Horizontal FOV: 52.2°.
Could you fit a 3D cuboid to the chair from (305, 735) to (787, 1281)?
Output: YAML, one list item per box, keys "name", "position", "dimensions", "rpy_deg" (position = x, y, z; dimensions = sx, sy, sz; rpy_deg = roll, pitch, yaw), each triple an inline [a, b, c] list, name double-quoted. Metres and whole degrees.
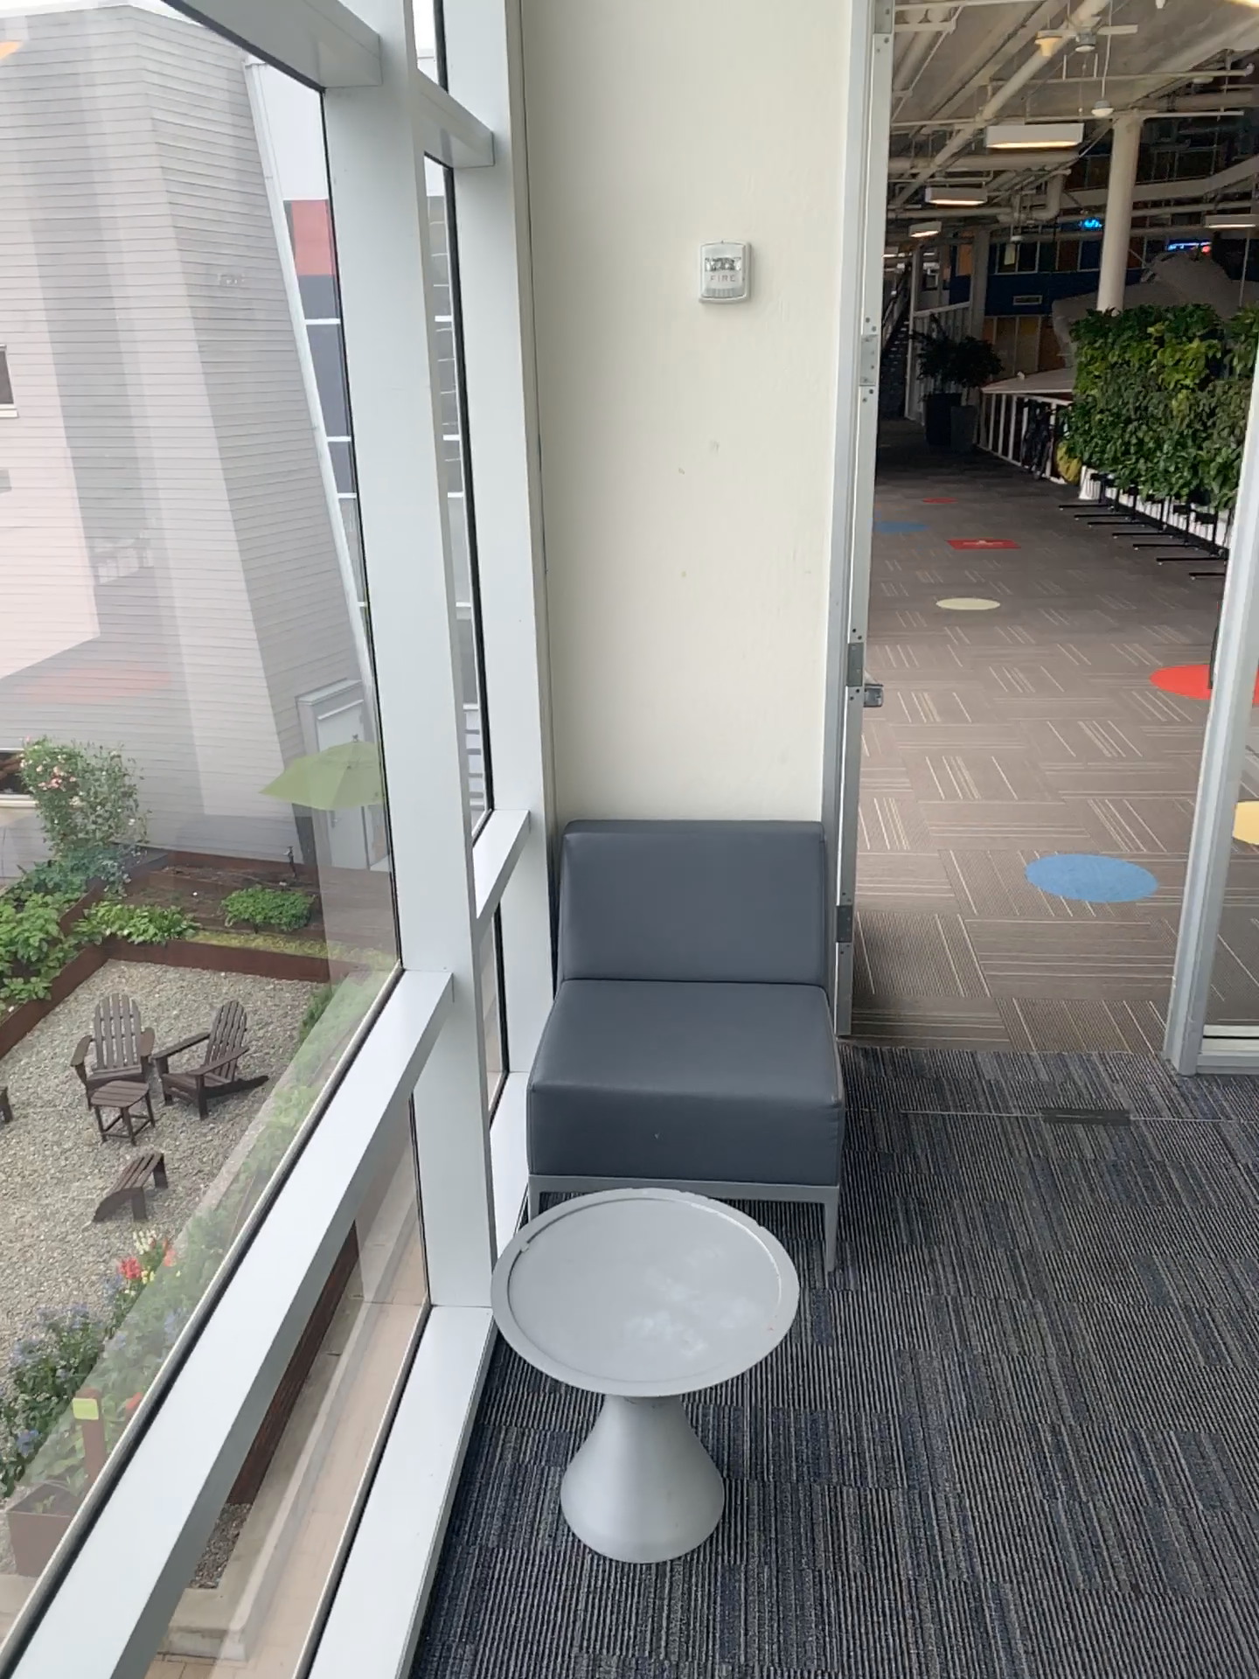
- name: "chair"
  position: [-0.125, 0.355, 3.276]
  dimensions: [1.000, 0.995, 1.004]
  rpy_deg: [1, 20, 5]
